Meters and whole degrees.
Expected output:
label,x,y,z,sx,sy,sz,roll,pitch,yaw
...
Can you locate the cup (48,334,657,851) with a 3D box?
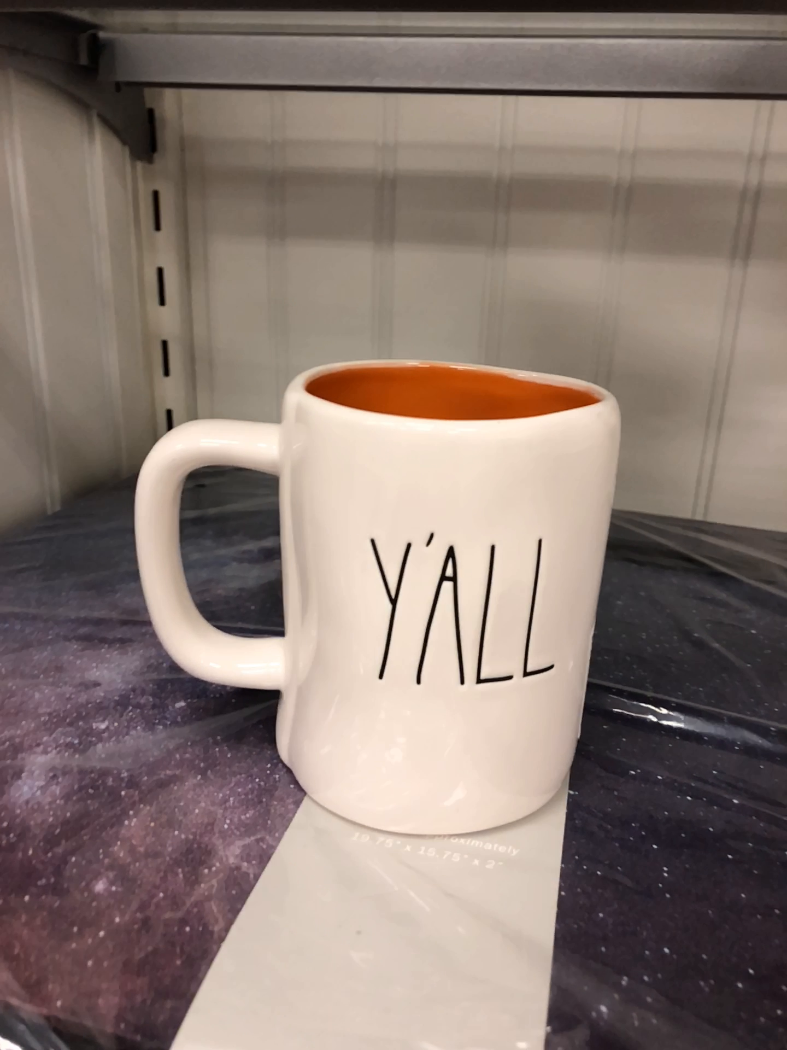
label,x,y,z,sx,sy,sz,roll,pitch,yaw
cup,-0.010,0.013,0.263,0.140,0.119,0.091,3,21,3
